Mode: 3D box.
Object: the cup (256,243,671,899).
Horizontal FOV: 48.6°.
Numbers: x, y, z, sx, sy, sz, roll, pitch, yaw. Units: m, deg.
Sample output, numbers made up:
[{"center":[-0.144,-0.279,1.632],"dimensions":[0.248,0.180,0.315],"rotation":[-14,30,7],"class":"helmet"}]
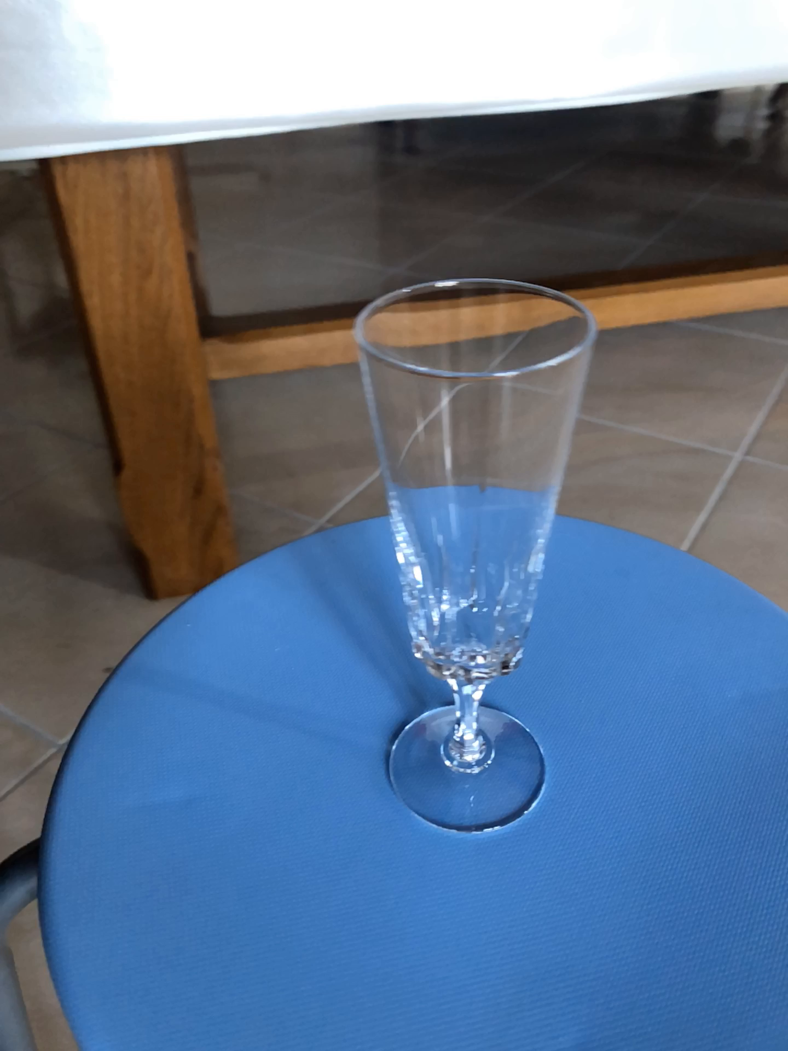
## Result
[{"center":[0.021,0.017,0.275],"dimensions":[0.080,0.179,0.070],"rotation":[25,44,34],"class":"cup"}]
